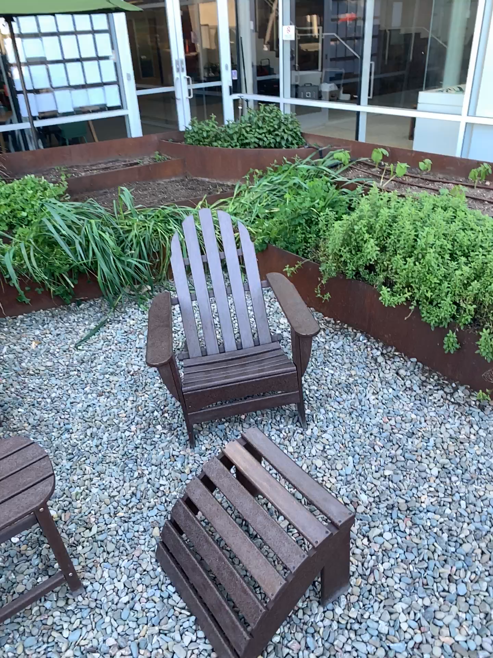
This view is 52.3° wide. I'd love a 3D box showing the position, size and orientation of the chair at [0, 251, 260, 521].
[{"bbox_3d":[-0.448,0.259,2.658,1.000,0.994,1.006,-1,30,3],"label":"chair"}]
